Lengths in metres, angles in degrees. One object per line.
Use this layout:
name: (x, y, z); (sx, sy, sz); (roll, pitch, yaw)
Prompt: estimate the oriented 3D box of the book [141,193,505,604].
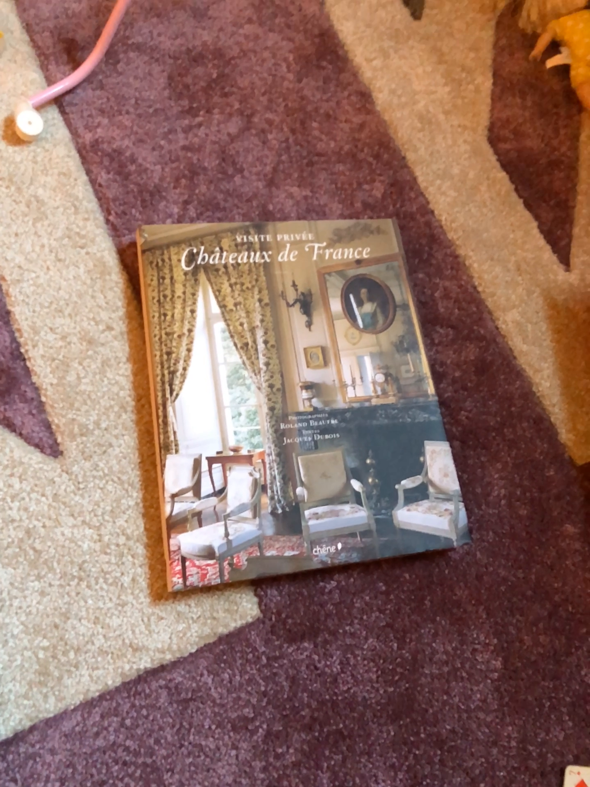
book: (0.012, -0.014, 0.566); (0.260, 0.050, 0.340); (-5, 72, -13)
